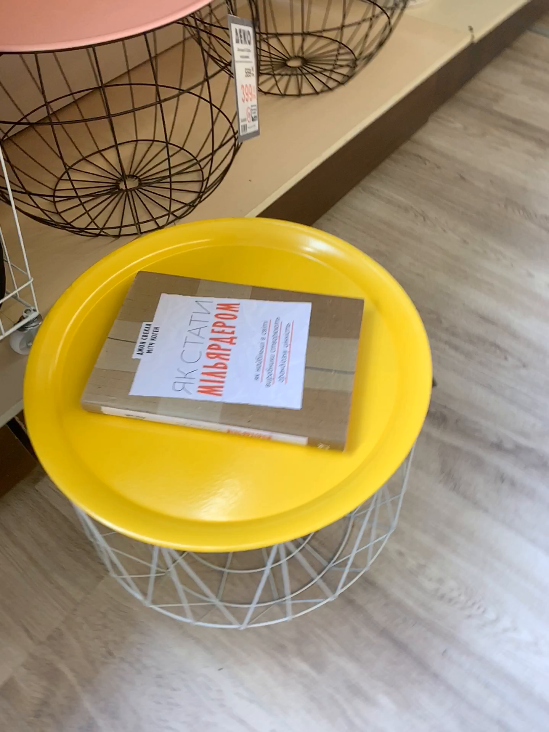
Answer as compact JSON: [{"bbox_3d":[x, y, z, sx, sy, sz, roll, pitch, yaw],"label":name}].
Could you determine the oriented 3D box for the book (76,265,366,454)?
[{"bbox_3d":[-0.040,-0.015,0.524,0.236,0.020,0.170,7,55,6],"label":"book"}]
